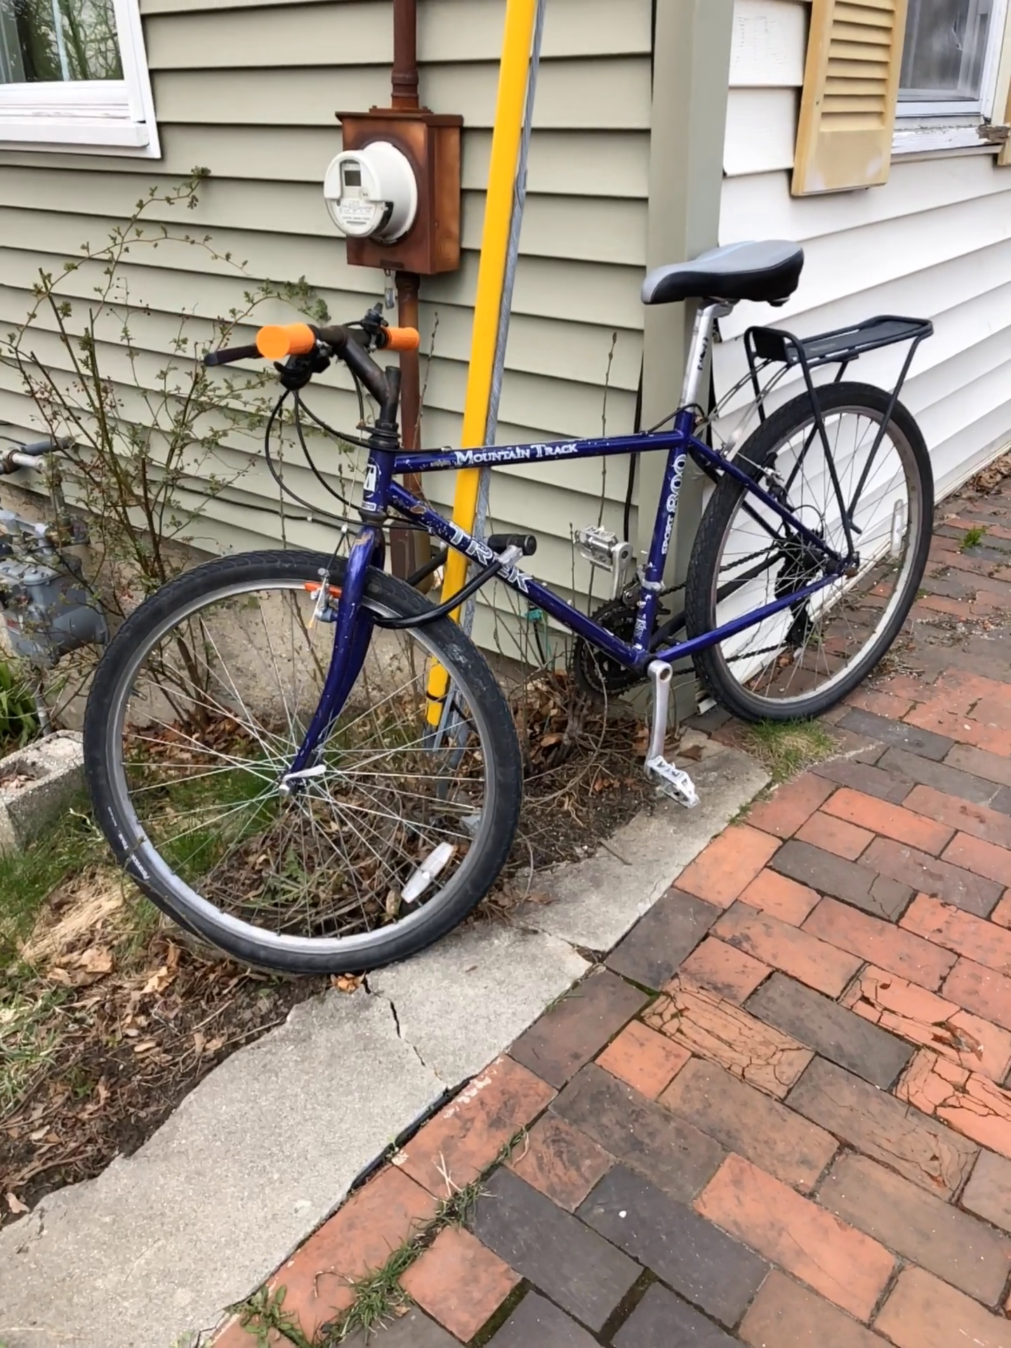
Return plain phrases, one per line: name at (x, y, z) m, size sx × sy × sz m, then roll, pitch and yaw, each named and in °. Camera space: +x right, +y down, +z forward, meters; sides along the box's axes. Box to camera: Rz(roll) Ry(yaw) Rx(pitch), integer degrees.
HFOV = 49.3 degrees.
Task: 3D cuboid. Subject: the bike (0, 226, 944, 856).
bike at (-0.092, -0.259, 1.701) m, size 1.148 × 0.690 × 0.514 m, roll -11°, pitch 29°, yaw -18°
